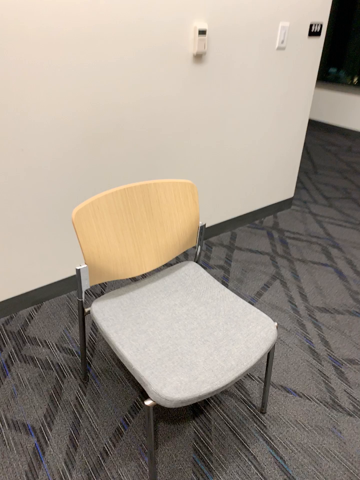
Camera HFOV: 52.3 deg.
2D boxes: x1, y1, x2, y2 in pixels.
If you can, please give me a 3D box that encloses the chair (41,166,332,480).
[{"bbox_3d":[-0.005,0.241,1.149,0.555,0.704,0.538,-21,37,-32],"label":"chair"}]
